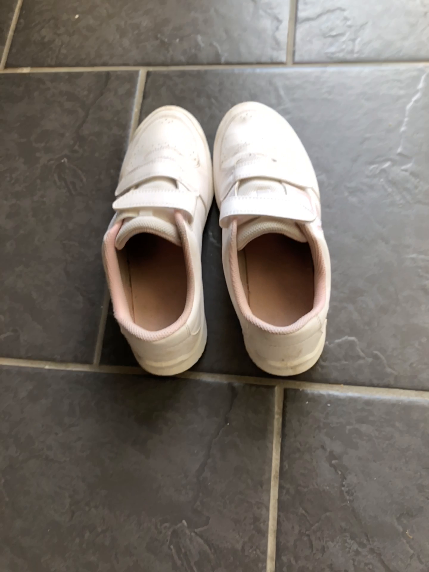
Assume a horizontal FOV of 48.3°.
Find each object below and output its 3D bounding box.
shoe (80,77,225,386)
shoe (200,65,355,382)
[{"bbox_3d":[-0.045,-0.045,0.421,0.095,0.090,0.251,-3,72,7],"label":"shoe"},{"bbox_3d":[0.048,-0.051,0.416,0.095,0.090,0.251,-6,72,6],"label":"shoe"}]
